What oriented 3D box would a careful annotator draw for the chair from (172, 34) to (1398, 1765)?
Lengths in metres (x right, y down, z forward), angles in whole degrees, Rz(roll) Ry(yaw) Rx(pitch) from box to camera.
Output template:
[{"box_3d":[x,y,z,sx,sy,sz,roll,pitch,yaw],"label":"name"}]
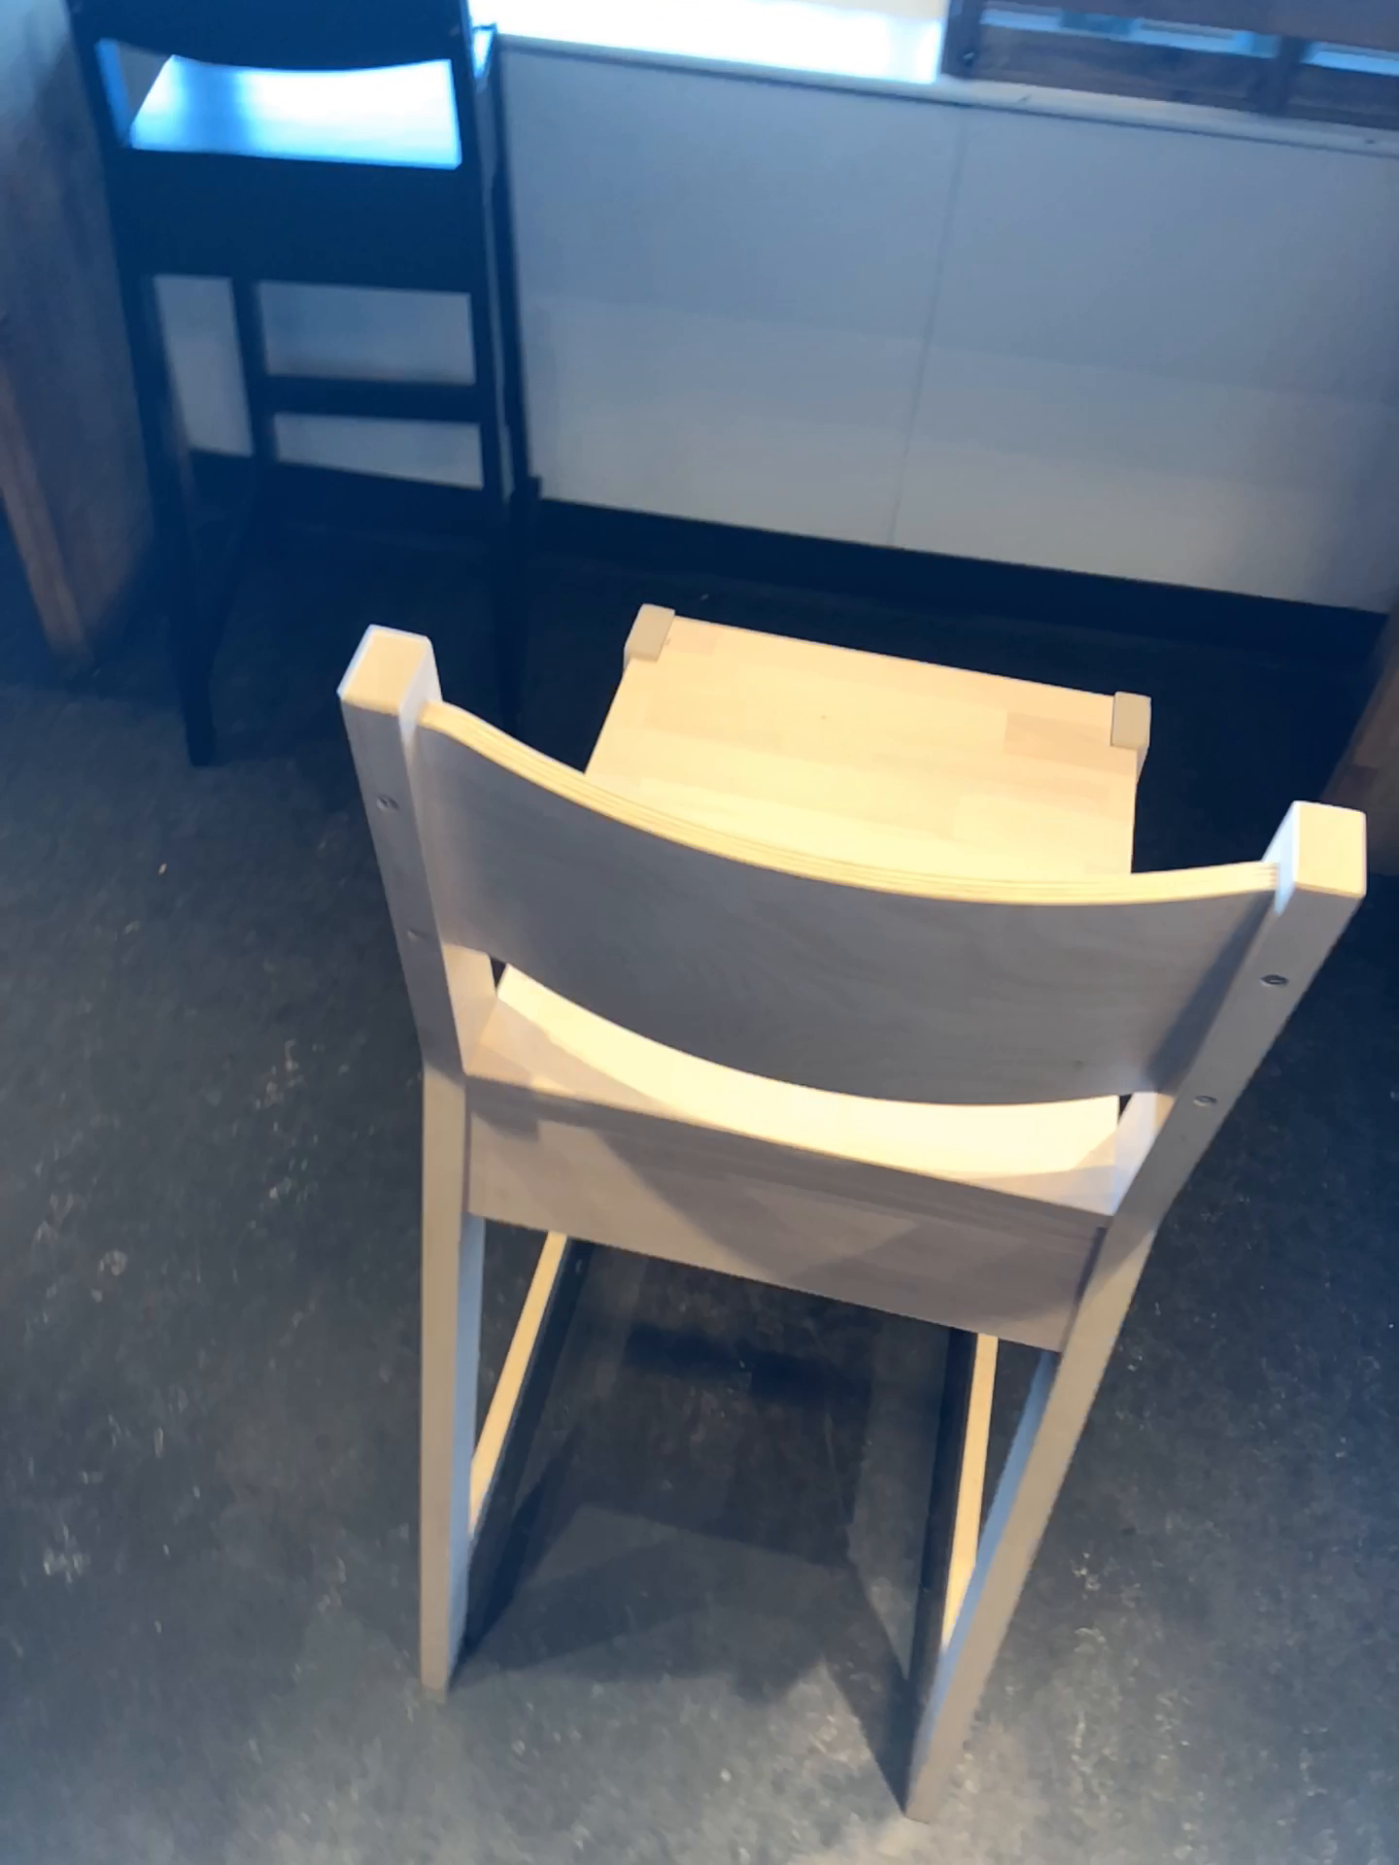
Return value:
[{"box_3d":[0.085,0.069,1.011,0.460,0.977,0.542,11,48,6],"label":"chair"}]
